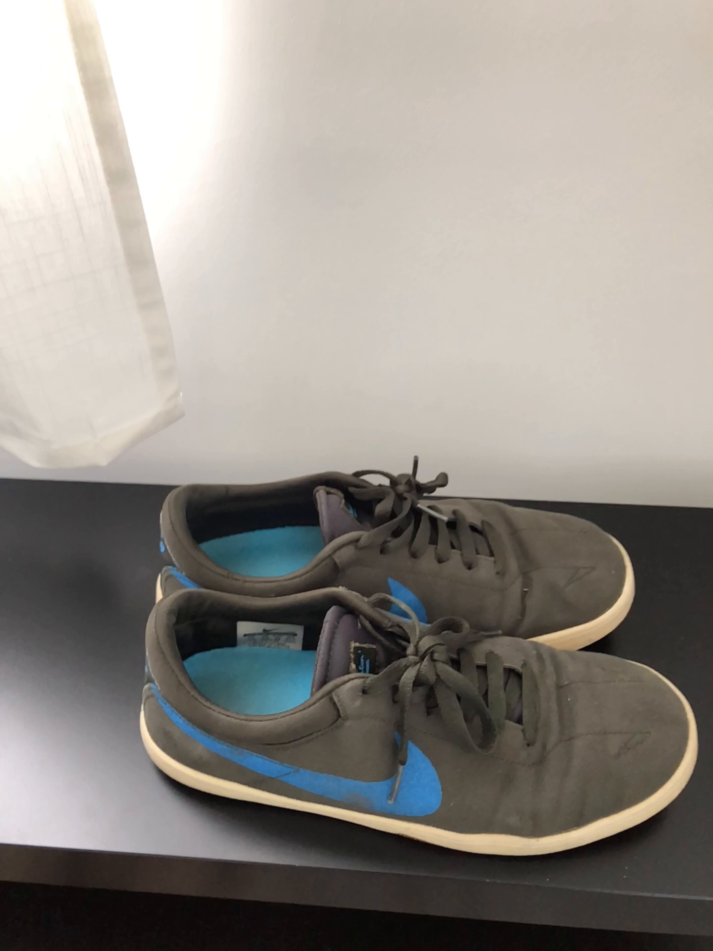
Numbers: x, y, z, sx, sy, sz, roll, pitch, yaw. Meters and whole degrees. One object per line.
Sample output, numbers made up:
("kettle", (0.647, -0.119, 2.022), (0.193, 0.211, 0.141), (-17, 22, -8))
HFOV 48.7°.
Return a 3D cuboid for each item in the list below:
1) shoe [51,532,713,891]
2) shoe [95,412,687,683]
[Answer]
("shoe", (0.020, 0.112, 0.384), (0.280, 0.110, 0.100), (4, 43, 5))
("shoe", (0.017, 0.040, 0.447), (0.280, 0.110, 0.100), (1, 43, 2))
